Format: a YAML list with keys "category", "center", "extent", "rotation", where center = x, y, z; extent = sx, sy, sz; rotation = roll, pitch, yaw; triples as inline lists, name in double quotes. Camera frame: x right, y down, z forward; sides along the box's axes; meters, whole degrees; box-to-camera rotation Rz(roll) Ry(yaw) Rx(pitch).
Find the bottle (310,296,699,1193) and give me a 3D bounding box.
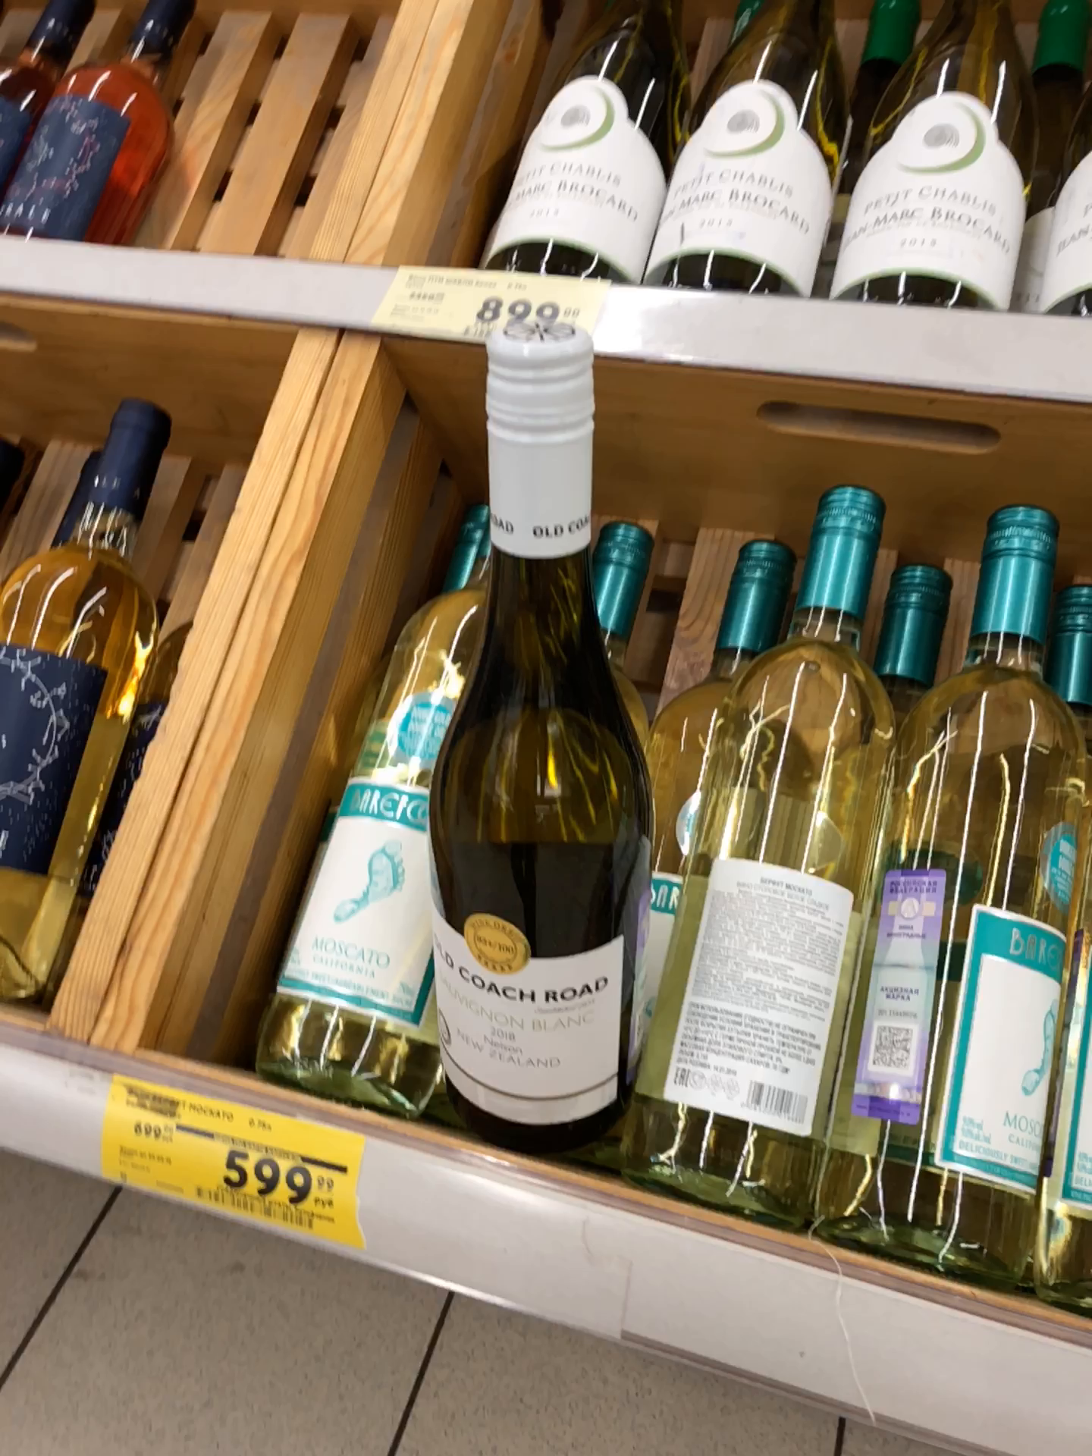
- category: "bottle"
  center: [-0.006, 0.020, 0.402]
  extent: [0.077, 0.291, 0.088]
  rotation: [11, 36, 16]
